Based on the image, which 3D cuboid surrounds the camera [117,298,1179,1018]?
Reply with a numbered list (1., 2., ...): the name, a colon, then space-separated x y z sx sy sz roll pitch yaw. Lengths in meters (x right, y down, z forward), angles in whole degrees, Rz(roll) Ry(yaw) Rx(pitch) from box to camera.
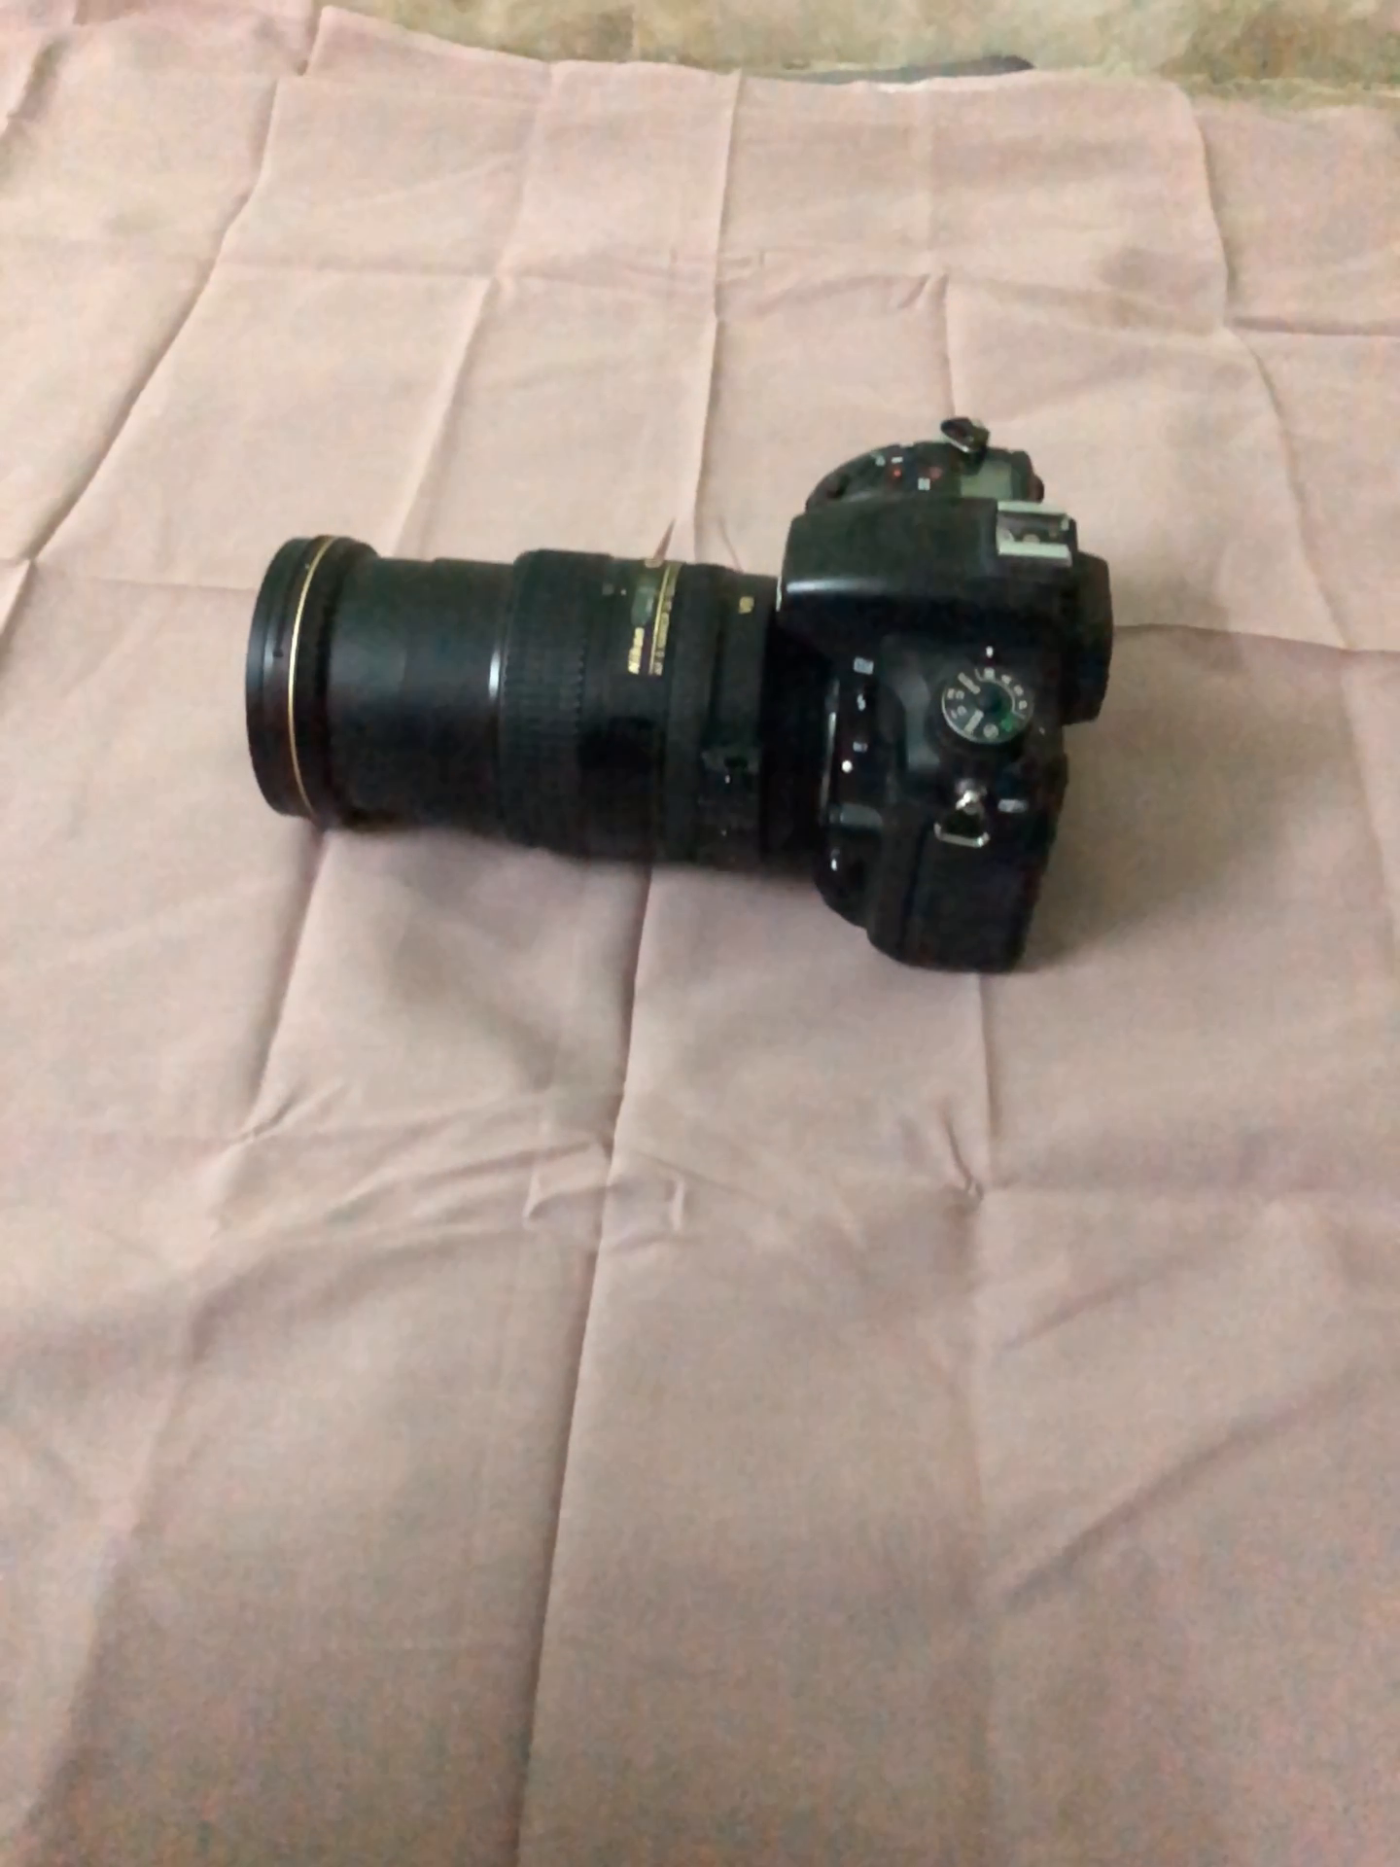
1. camera: -0.007 -0.077 0.422 0.231 0.109 0.139 5 51 3
